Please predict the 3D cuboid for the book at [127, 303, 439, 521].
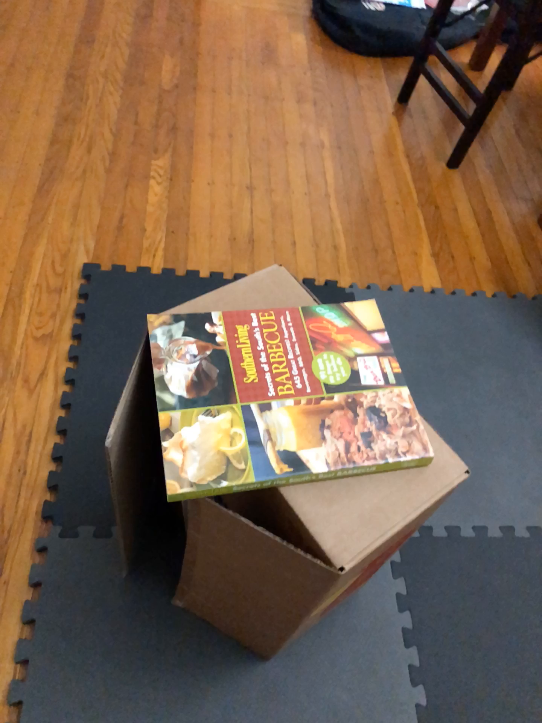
[{"bbox_3d":[0.005,0.037,0.631,0.290,0.020,0.221,-5,56,-15],"label":"book"}]
